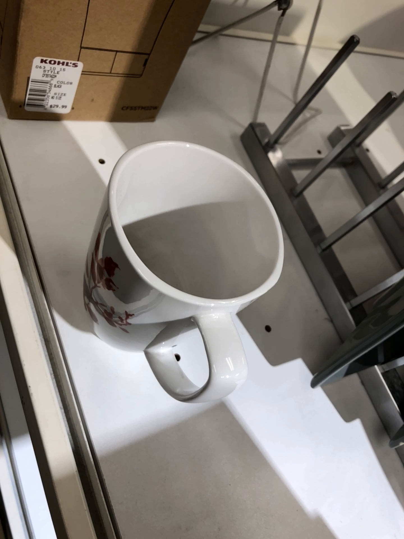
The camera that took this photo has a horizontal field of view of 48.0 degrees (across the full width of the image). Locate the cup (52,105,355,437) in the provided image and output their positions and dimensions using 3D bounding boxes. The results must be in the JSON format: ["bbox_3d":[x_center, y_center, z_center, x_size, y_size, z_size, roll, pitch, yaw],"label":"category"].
[{"bbox_3d":[-0.012,0.003,0.228,0.085,0.100,0.119,-8,67,-31],"label":"cup"}]
